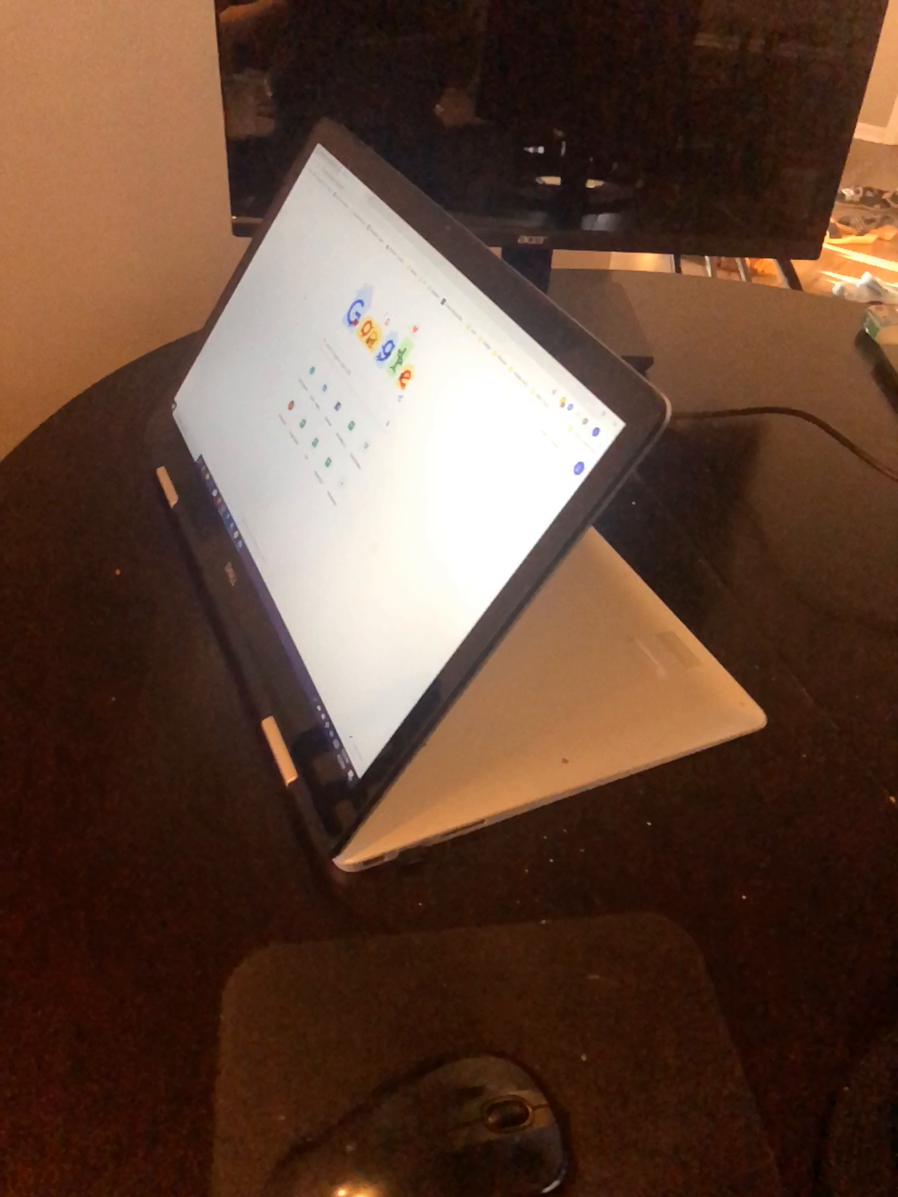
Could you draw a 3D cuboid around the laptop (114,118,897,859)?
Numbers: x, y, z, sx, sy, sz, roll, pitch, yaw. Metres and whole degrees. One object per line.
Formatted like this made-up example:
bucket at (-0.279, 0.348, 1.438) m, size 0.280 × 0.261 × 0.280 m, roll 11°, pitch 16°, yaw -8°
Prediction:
laptop at (-0.012, -0.110, 0.612) m, size 0.267 × 0.232 × 0.420 m, roll -13°, pitch 42°, yaw -20°
